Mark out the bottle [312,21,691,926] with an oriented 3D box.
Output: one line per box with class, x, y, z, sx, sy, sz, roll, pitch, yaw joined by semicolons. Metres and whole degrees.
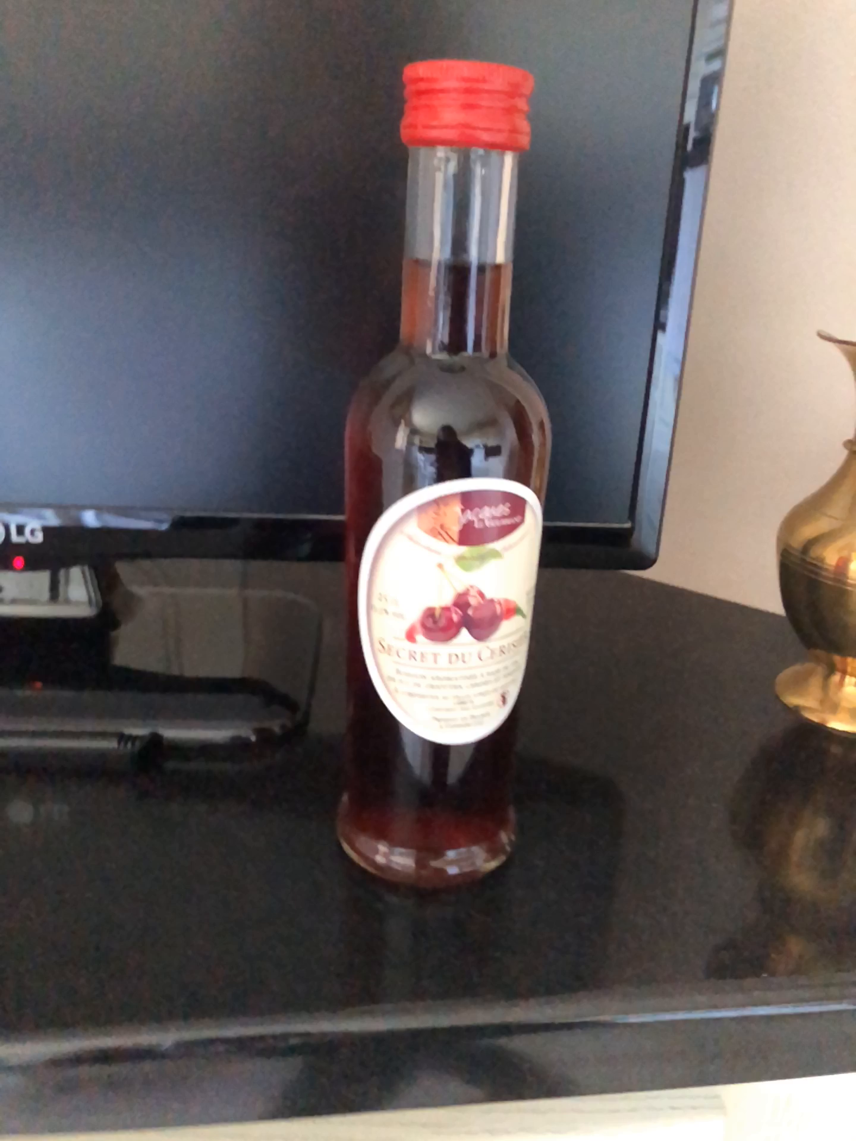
bottle;0.009;-0.019;0.265;0.070;0.219;0.070;3;20;-1
